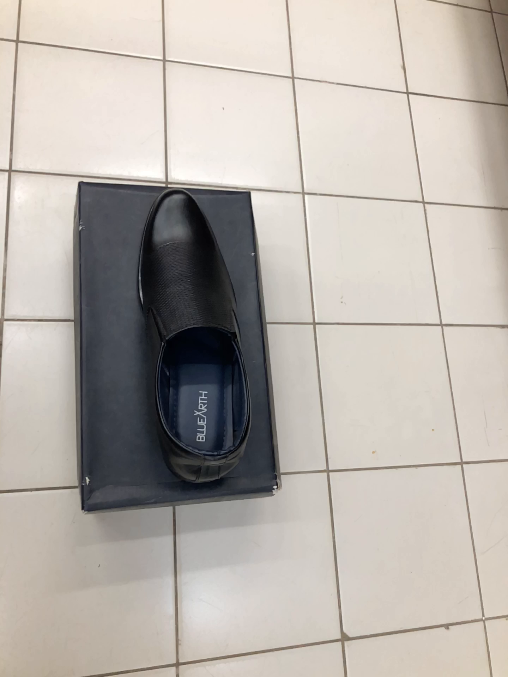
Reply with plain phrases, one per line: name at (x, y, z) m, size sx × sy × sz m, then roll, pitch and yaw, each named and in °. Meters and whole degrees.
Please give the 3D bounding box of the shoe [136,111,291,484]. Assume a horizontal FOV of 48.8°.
shoe at (-0.052, -0.035, 0.560) m, size 0.100 × 0.130 × 0.340 m, roll -3°, pitch 76°, yaw -16°
